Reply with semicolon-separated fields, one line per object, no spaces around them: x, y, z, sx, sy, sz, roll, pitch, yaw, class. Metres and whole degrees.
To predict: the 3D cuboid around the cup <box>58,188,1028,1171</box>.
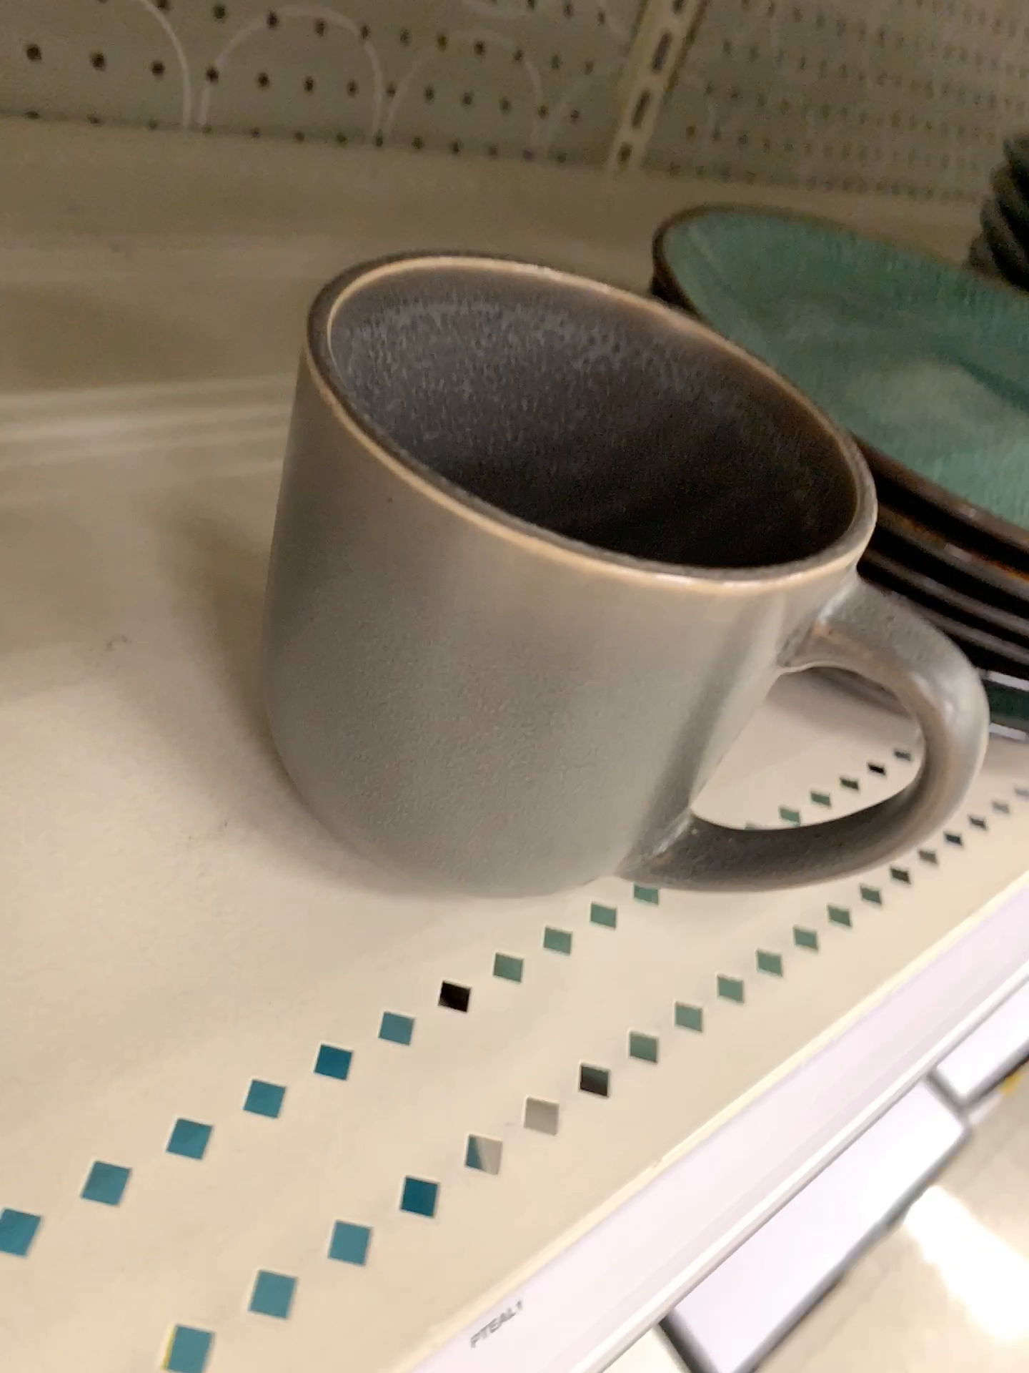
0.009;-0.012;0.189;0.130;0.080;0.100;33;41;11;cup
